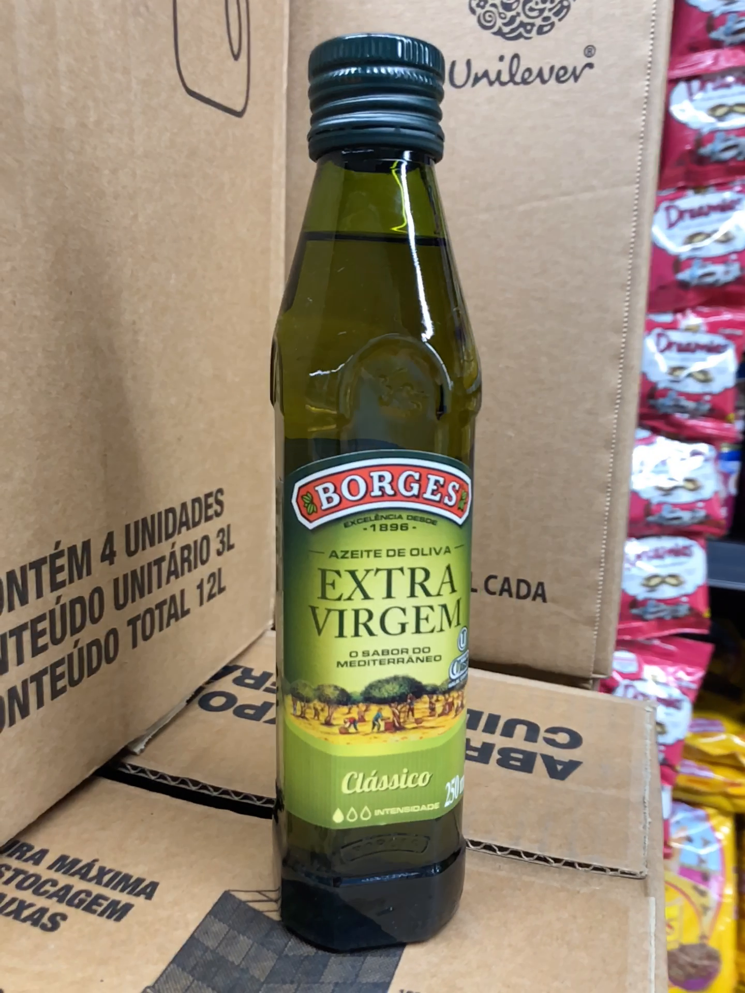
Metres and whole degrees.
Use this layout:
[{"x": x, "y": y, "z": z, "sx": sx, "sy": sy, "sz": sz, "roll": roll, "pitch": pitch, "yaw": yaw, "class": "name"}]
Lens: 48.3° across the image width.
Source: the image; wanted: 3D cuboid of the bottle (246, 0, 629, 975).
[{"x": 0.006, "y": -0.007, "z": 0.202, "sx": 0.060, "sy": 0.219, "sz": 0.060, "roll": 3, "pitch": 11, "yaw": -1, "class": "bottle"}]
